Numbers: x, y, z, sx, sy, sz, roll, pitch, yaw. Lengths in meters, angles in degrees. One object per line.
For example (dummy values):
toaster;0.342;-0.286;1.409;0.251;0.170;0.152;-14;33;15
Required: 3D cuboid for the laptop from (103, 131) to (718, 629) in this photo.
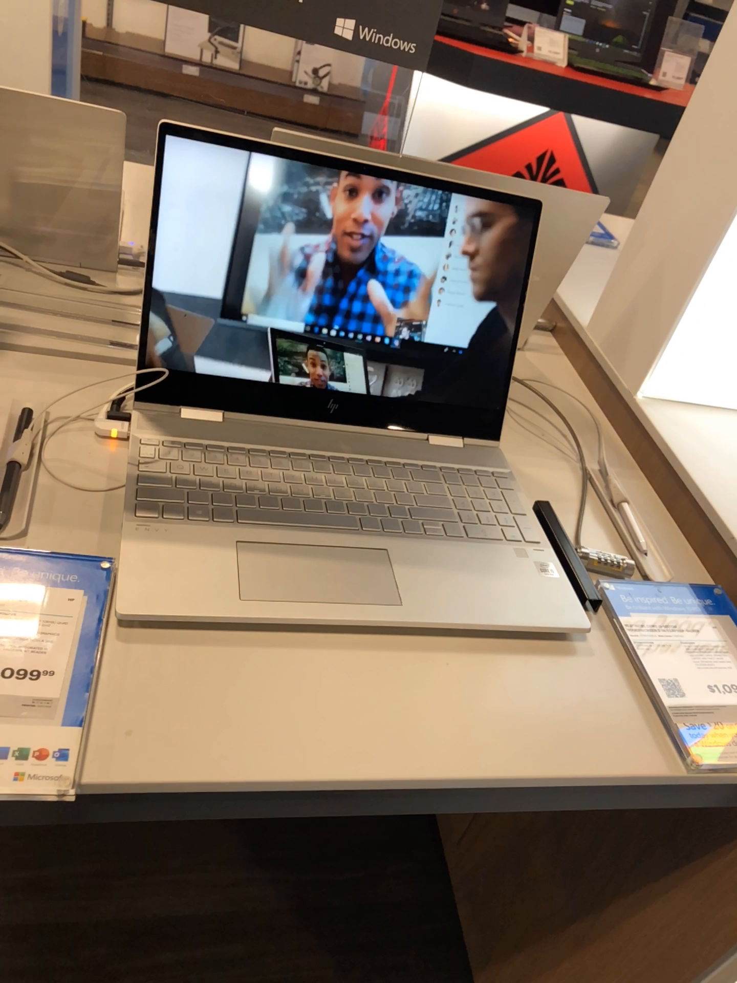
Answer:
laptop;-0.006;-0.097;0.656;0.358;0.210;0.355;5;38;-16
